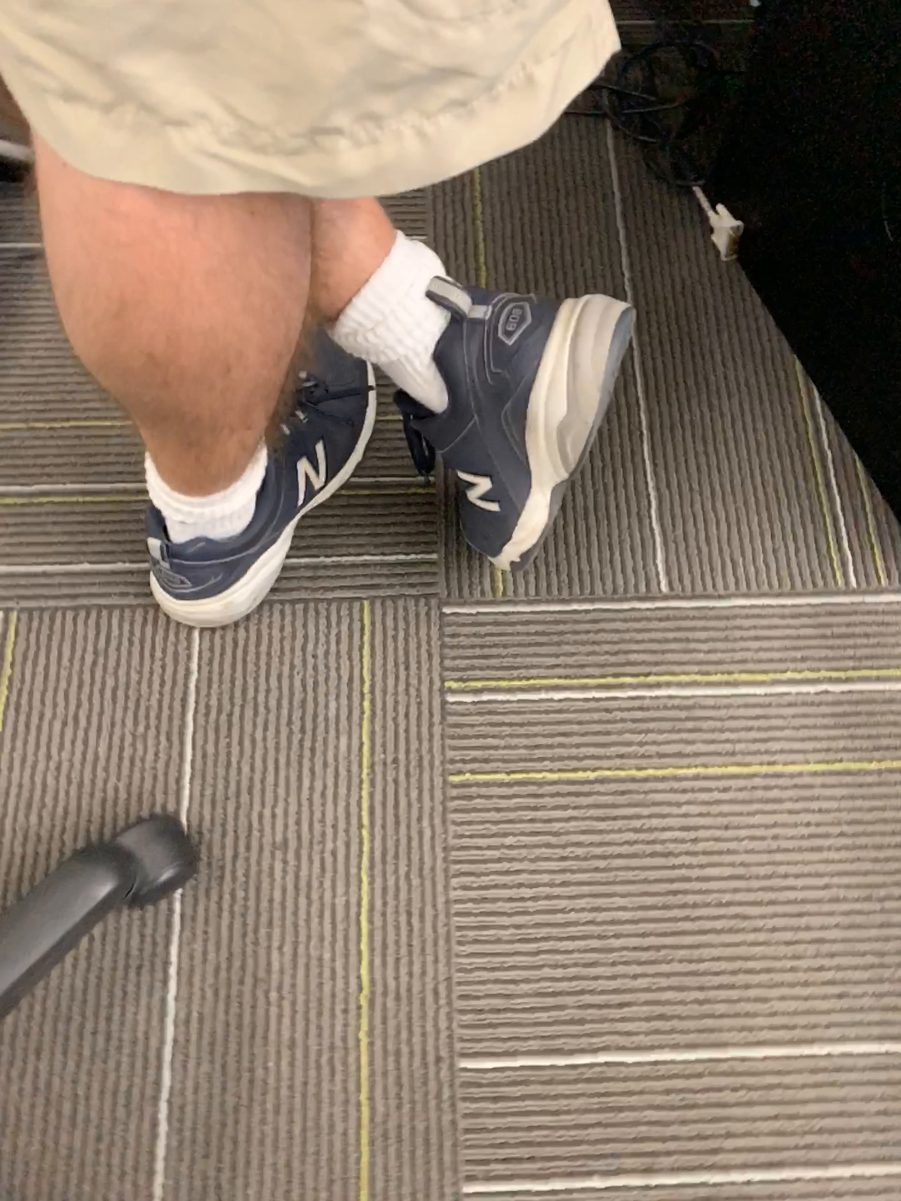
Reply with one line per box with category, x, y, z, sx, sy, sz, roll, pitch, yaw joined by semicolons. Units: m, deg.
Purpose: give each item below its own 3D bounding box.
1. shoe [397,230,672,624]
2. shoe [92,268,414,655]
shoe;0.045;-0.102;0.671;0.129;0.293;0.122;20;72;4
shoe;-0.150;-0.120;0.760;0.120;0.077;0.297;24;71;8
